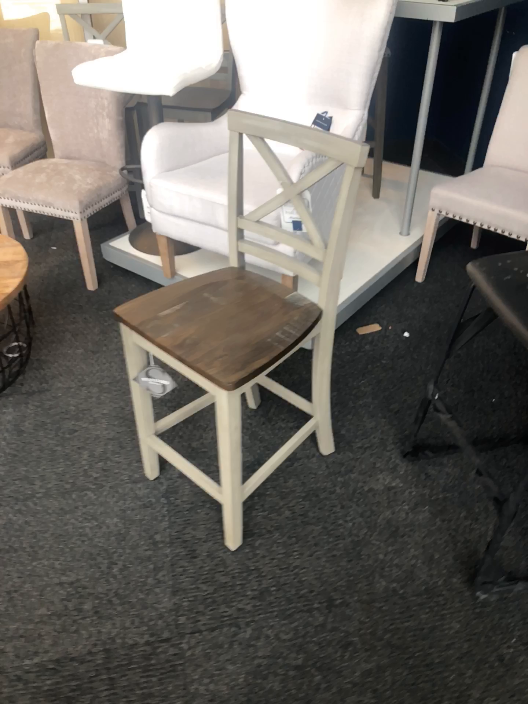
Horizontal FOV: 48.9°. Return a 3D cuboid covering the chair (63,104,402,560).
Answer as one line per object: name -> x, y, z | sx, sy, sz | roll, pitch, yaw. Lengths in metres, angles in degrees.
chair -> -0.057, -0.051, 1.501 | 0.470, 0.934, 0.536 | 30, 47, 34

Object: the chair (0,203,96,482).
chair -> -1.011, -0.070, 1.908 | 0.519, 0.536, 0.688 | 11, 39, 15

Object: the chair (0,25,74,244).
chair -> -1.463, -1.151, 3.083 | 0.509, 0.944, 0.577 | 5, 38, 7

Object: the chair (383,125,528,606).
chair -> 0.694, 0.043, 1.381 | 0.535, 0.934, 0.542 | -9, 38, -11

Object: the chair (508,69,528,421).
chair -> 1.237, -0.311, 1.809 | 0.534, 0.934, 0.472 | -5, 38, -5

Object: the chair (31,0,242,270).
chair -> -0.387, -0.846, 2.050 | 0.380, 0.914, 0.486 | 21, 42, 26

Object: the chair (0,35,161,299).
chair -> -0.872, -0.829, 2.610 | 0.490, 0.944, 0.577 | 12, 39, 16

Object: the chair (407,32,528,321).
chair -> 1.040, -0.731, 2.393 | 0.521, 0.924, 0.586 | 31, 47, 34

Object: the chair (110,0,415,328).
chair -> 0.021, -0.783, 2.136 | 0.690, 1.014, 0.707 | 21, 42, 26
